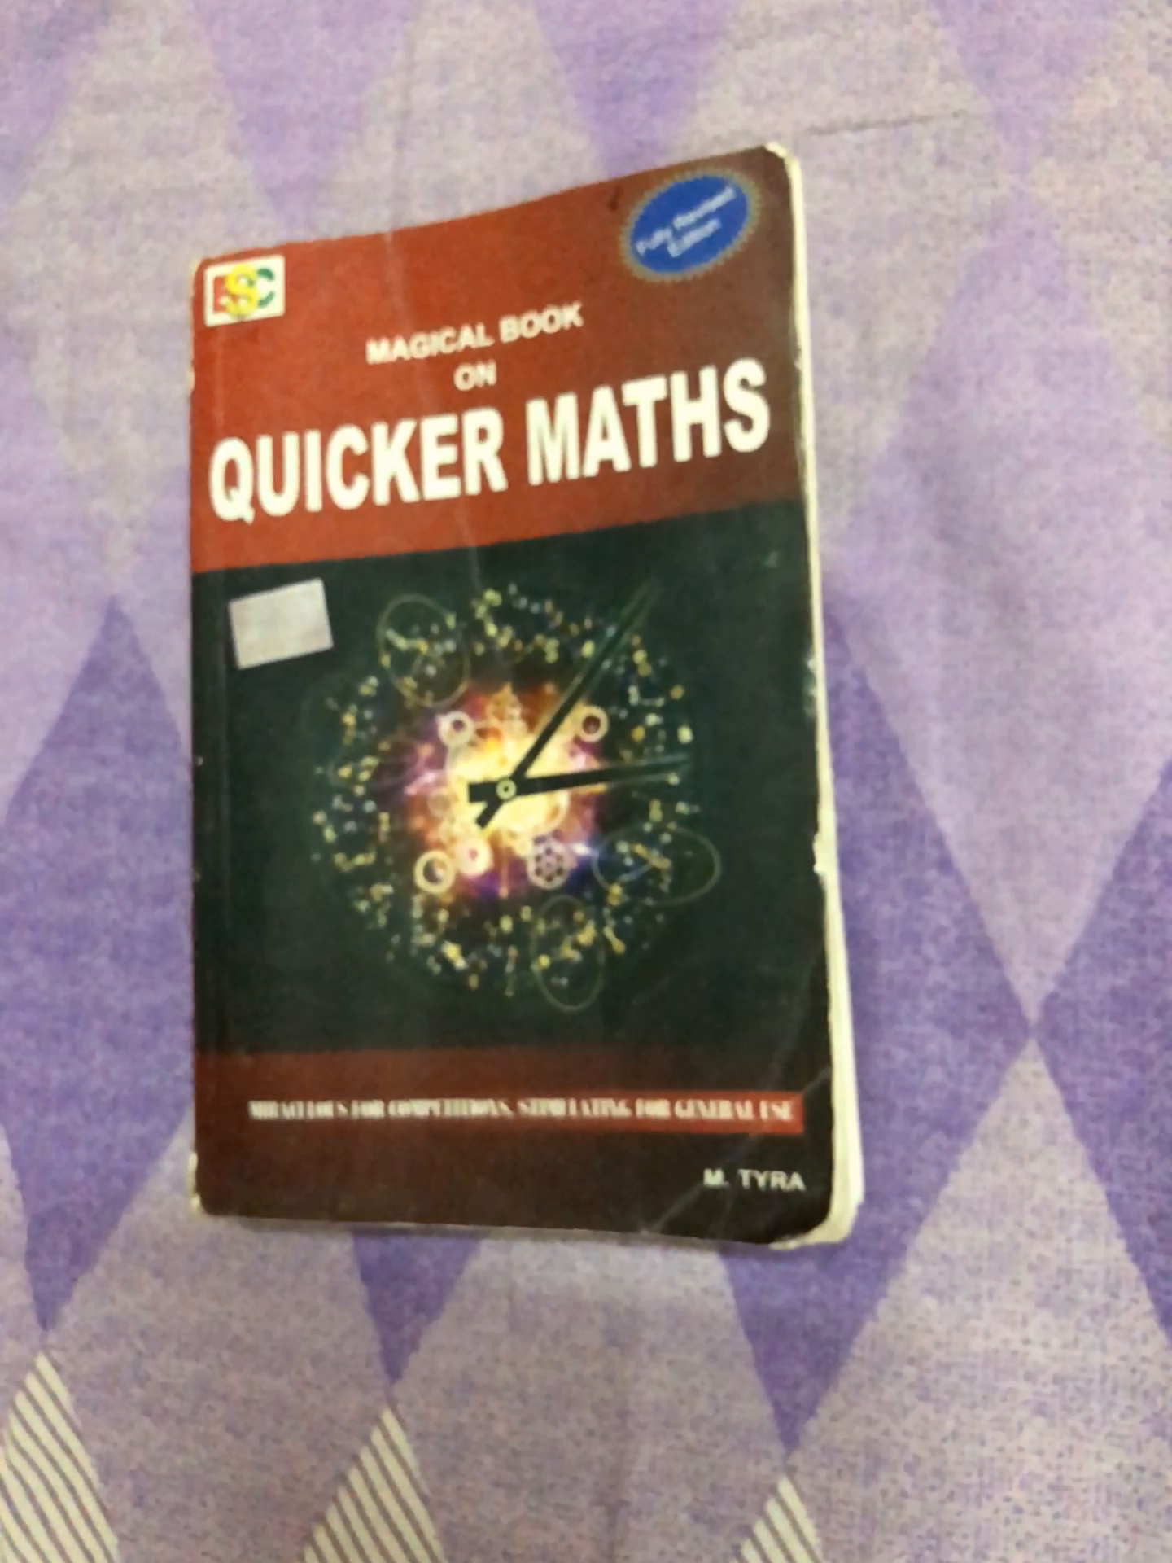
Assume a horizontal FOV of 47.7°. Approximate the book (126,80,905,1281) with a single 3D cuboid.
[{"bbox_3d":[-0.018,-0.016,0.283,0.150,0.050,0.220,-4,83,16],"label":"book"}]
